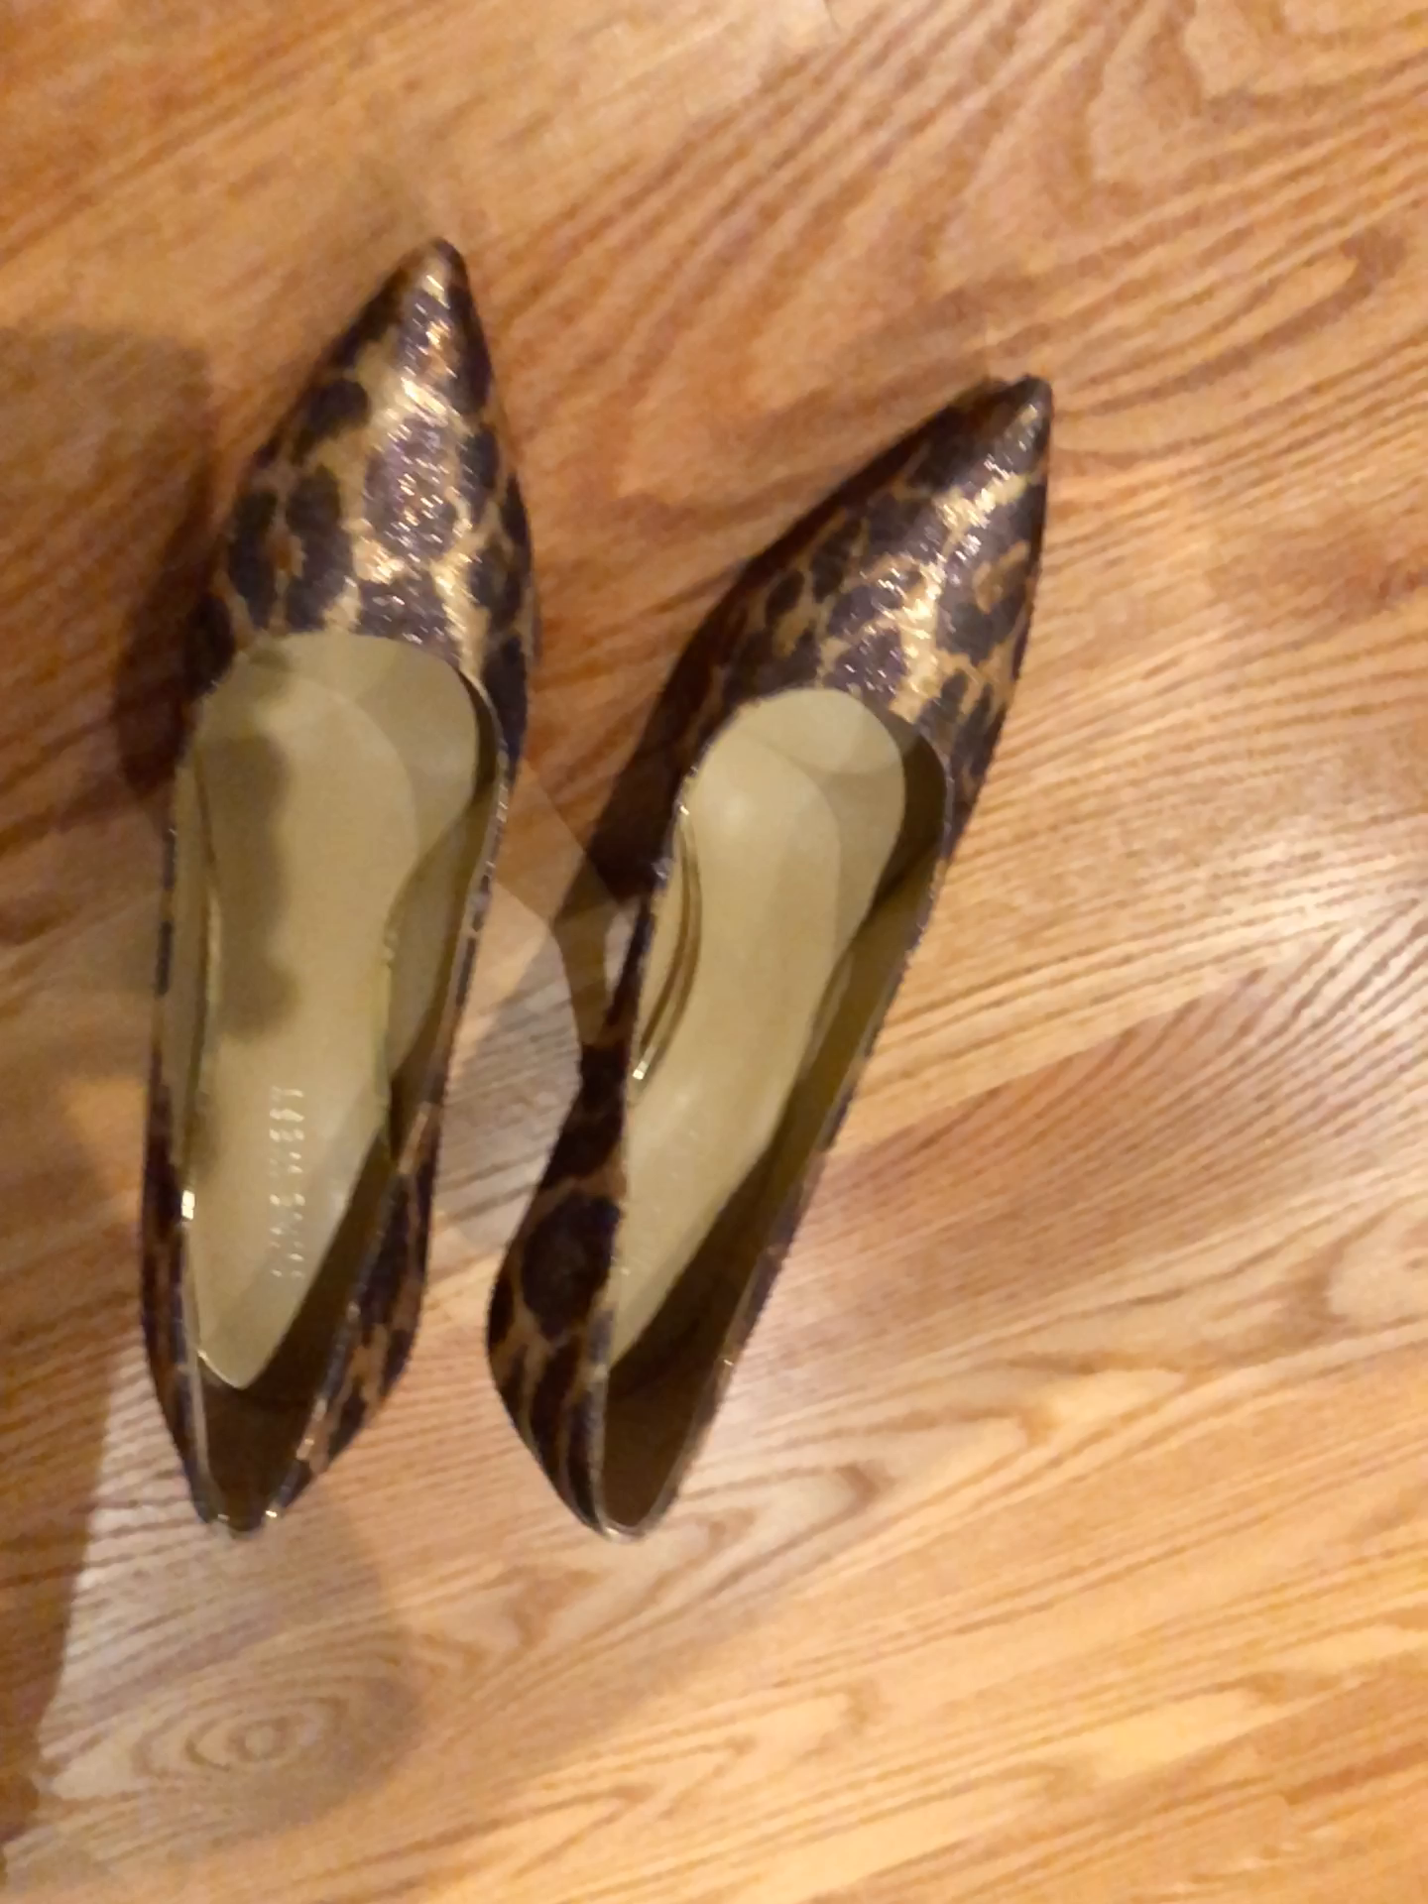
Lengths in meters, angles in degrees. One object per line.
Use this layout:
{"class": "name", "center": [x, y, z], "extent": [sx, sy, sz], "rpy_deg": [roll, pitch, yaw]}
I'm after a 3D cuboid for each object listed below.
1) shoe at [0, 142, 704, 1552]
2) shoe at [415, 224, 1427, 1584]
{"class": "shoe", "center": [-0.072, -0.021, 0.302], "extent": [0.083, 0.144, 0.219], "rpy_deg": [8, 119, -11]}
{"class": "shoe", "center": [0.023, -0.011, 0.318], "extent": [0.084, 0.144, 0.219], "rpy_deg": [20, 116, -17]}
